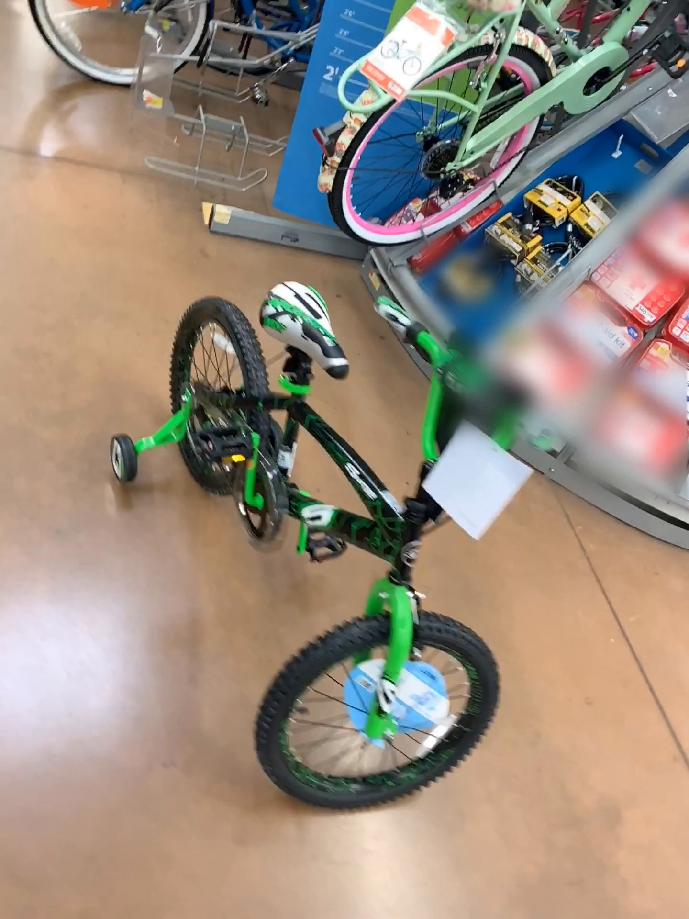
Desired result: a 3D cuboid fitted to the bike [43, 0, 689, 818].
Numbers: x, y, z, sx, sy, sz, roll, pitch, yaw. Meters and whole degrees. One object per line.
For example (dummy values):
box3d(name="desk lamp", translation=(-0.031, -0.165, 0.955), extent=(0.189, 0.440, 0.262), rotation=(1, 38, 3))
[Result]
box3d(name="bike", translation=(0.025, -0.073, 1.326), extent=(0.638, 0.914, 1.052), rotation=(-21, 61, -37))
